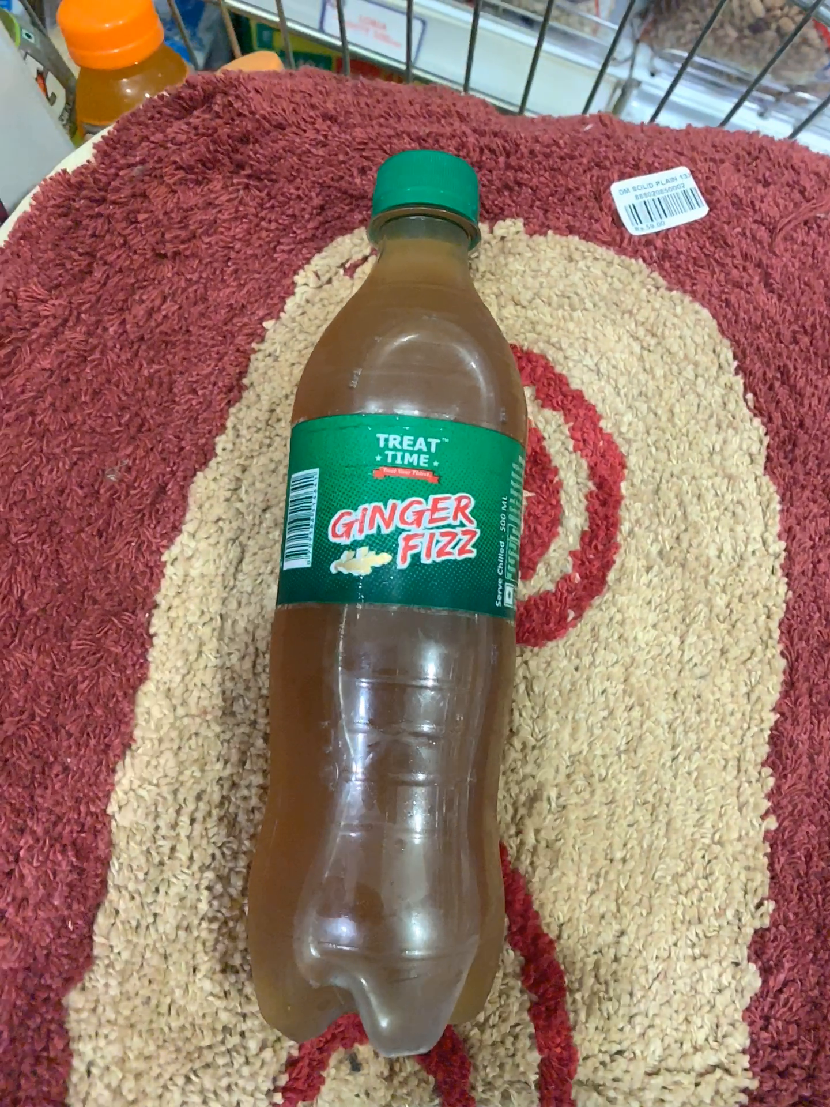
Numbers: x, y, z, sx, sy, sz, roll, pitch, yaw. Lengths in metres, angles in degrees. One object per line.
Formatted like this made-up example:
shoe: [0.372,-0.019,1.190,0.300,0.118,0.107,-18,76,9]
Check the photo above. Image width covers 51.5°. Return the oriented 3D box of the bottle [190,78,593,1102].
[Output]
bottle: [-0.007,0.008,0.224,0.070,0.070,0.220,6,85,-9]
